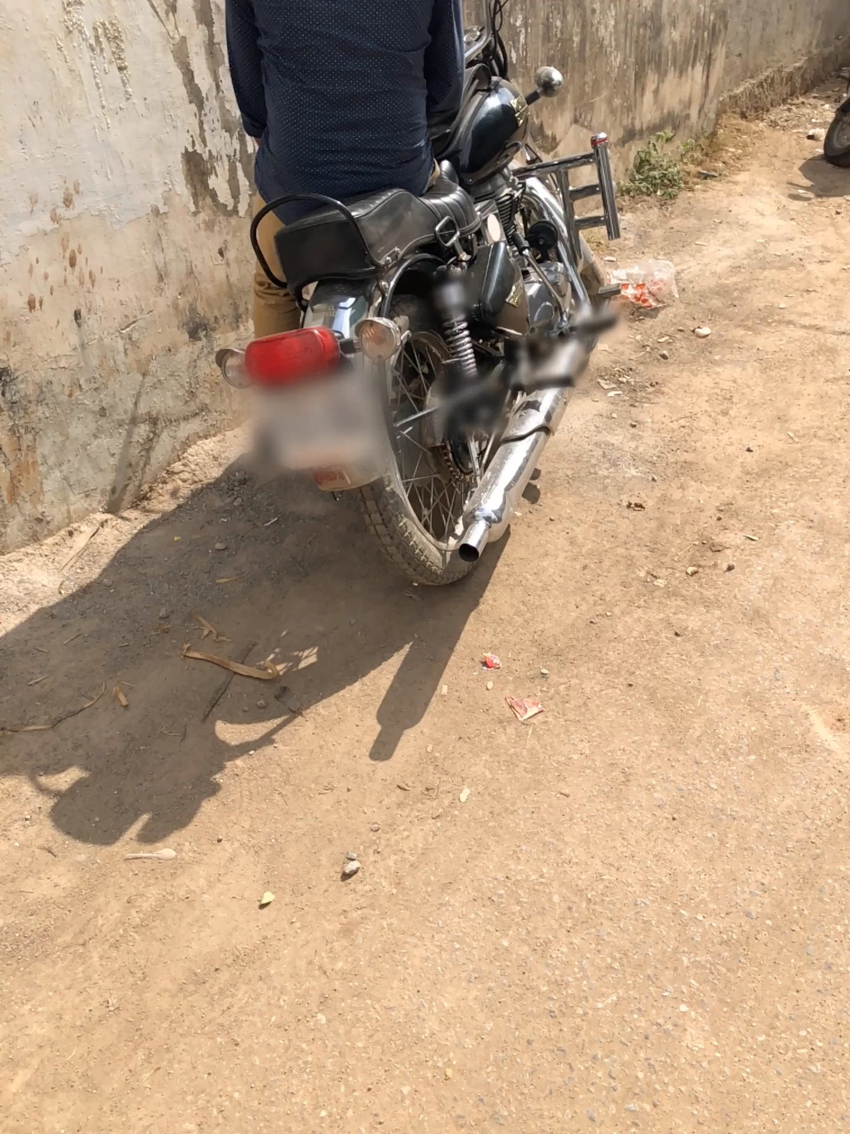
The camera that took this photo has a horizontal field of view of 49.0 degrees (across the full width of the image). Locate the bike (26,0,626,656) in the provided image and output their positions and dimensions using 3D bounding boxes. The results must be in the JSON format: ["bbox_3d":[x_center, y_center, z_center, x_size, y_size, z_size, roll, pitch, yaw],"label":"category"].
[{"bbox_3d":[0.007,-1.009,2.528,0.880,1.317,1.945,5,37,14],"label":"bike"}]
